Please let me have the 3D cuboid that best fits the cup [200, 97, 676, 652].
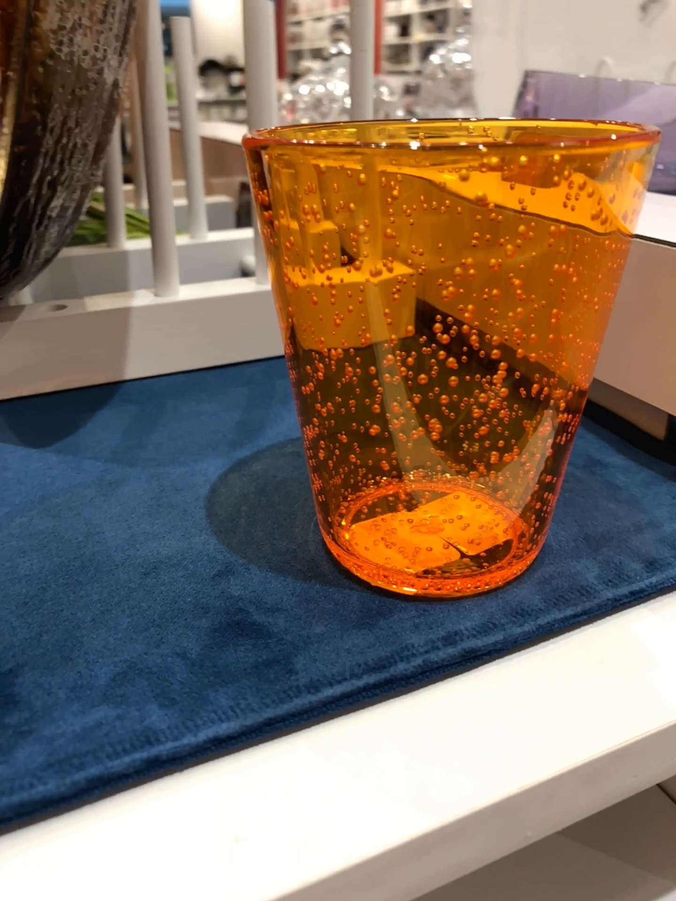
[{"bbox_3d":[0.026,-0.027,0.166,0.080,0.090,0.070,-19,31,-34],"label":"cup"}]
